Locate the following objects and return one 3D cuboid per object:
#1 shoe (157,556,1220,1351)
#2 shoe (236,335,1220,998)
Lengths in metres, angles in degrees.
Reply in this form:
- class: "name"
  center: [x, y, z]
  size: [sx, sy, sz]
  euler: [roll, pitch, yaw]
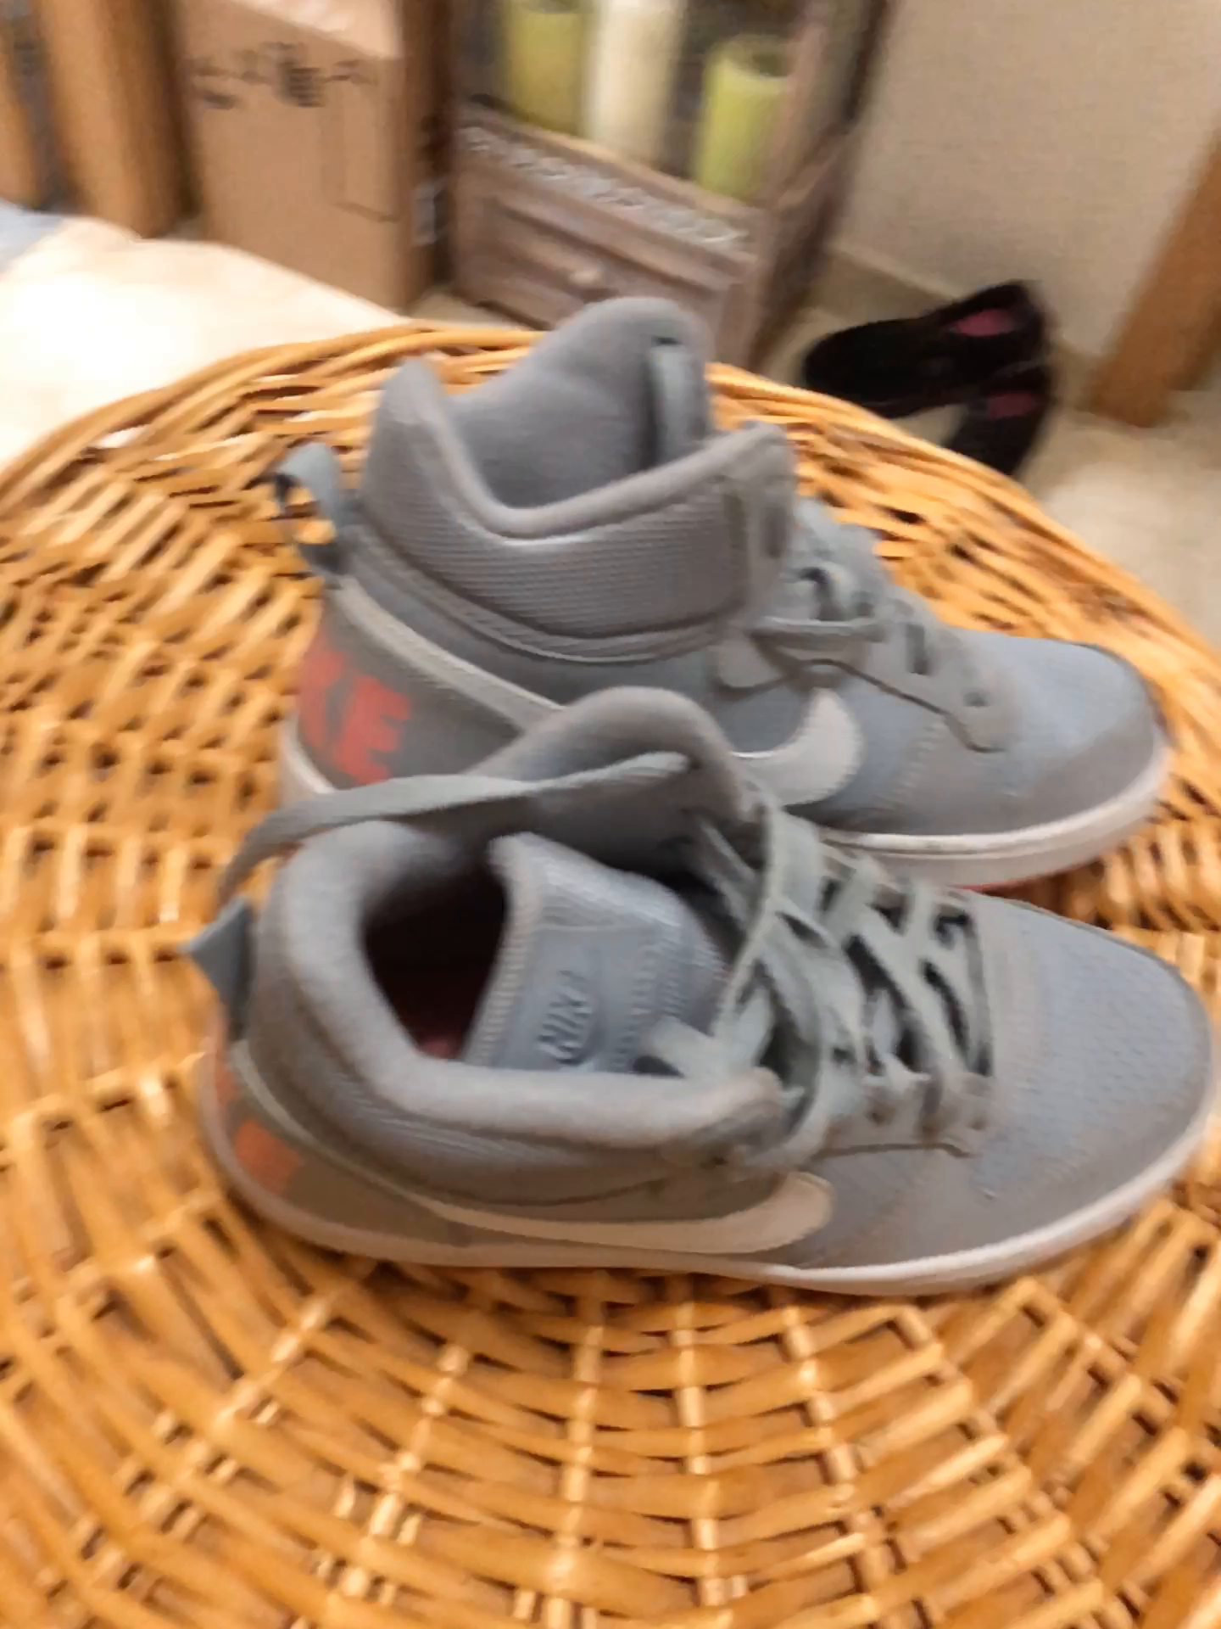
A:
- class: "shoe"
  center: [0.043, 0.035, 0.287]
  size: [0.251, 0.120, 0.105]
  euler: [2, 55, -14]
- class: "shoe"
  center: [0.039, -0.042, 0.343]
  size: [0.247, 0.117, 0.099]
  euler: [-5, 45, -12]
